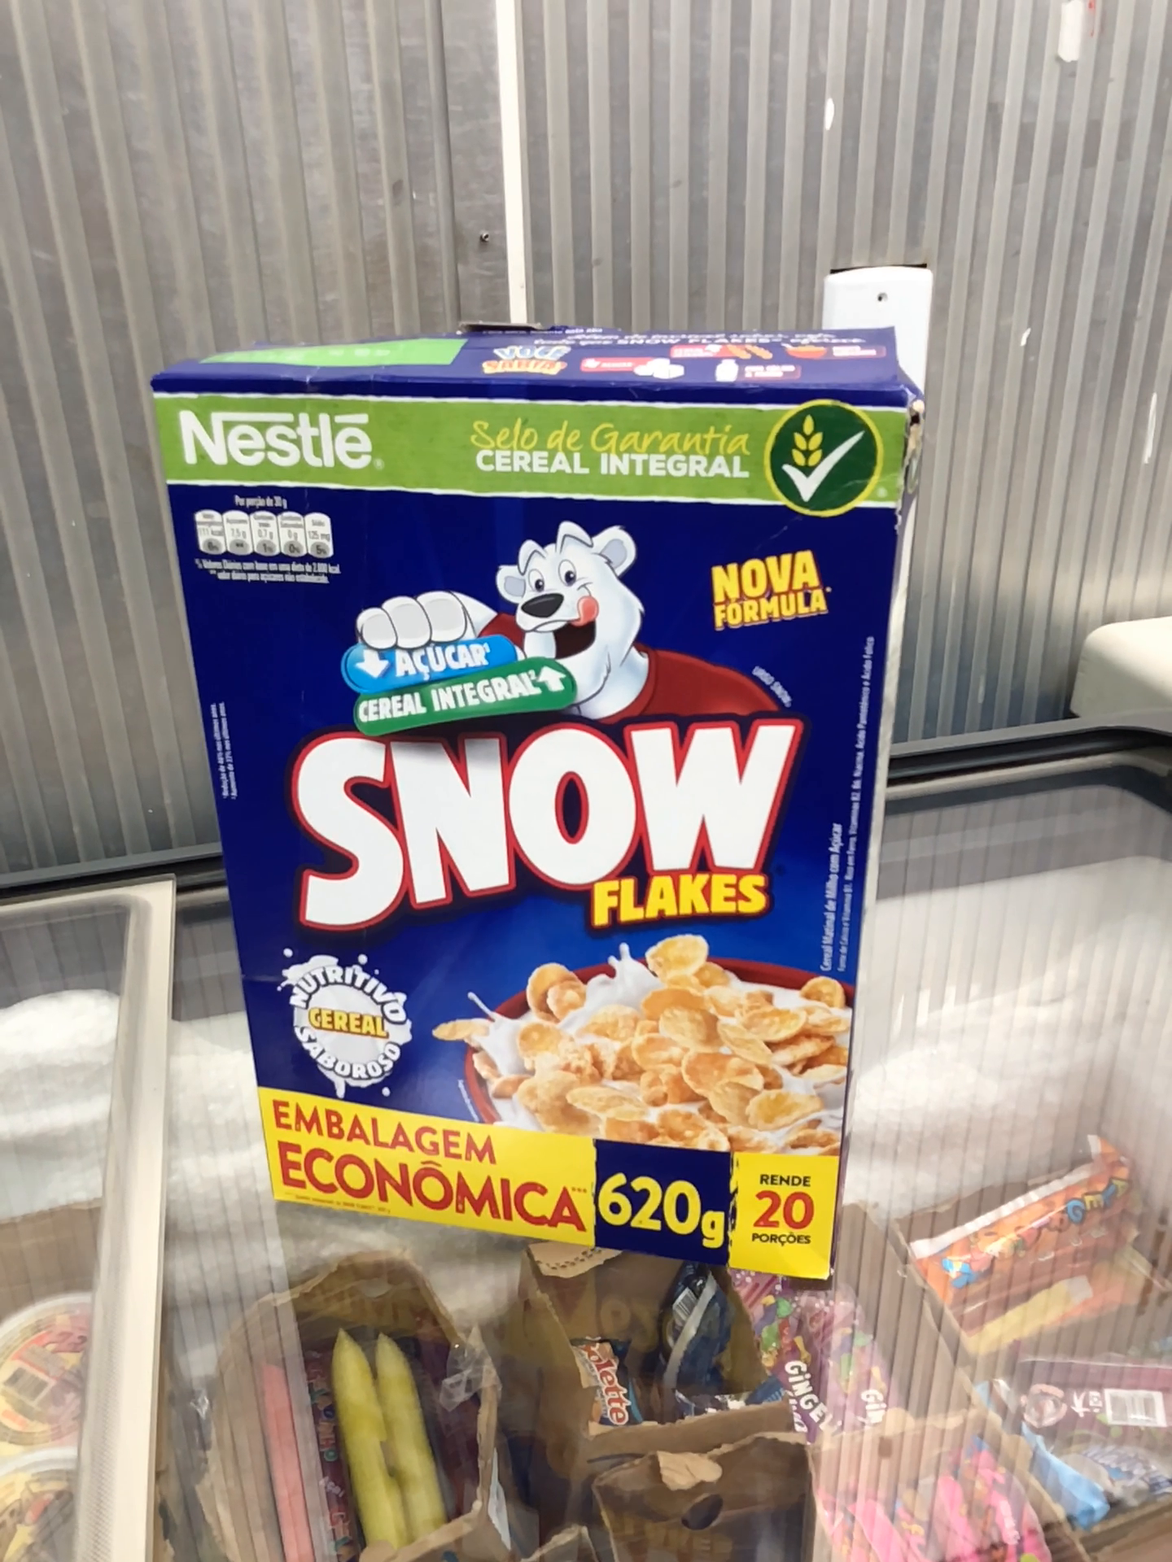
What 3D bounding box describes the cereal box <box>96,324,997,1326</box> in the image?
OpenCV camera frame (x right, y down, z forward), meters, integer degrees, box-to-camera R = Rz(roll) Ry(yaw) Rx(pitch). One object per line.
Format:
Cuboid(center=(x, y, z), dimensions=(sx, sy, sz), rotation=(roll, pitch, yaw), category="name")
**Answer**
Cuboid(center=(-0.007, 0.020, 0.419), dimensions=(0.230, 0.308, 0.070), rotation=(5, 27, 12), category="cereal box")
